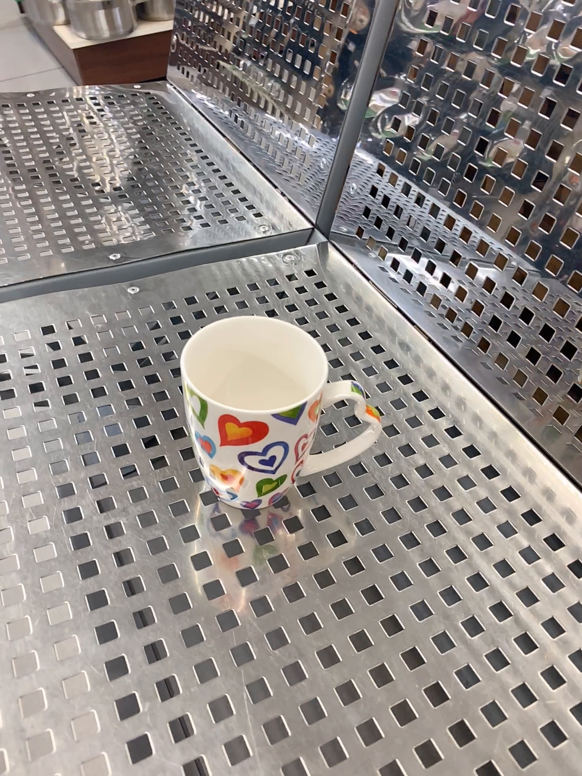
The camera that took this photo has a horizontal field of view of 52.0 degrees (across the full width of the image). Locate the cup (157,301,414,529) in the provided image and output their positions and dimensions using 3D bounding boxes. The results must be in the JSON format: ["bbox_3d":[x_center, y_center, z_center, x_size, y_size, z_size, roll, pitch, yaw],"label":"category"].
[{"bbox_3d":[-0.004,0.018,0.338,0.120,0.100,0.070,5,45,-1],"label":"cup"}]
